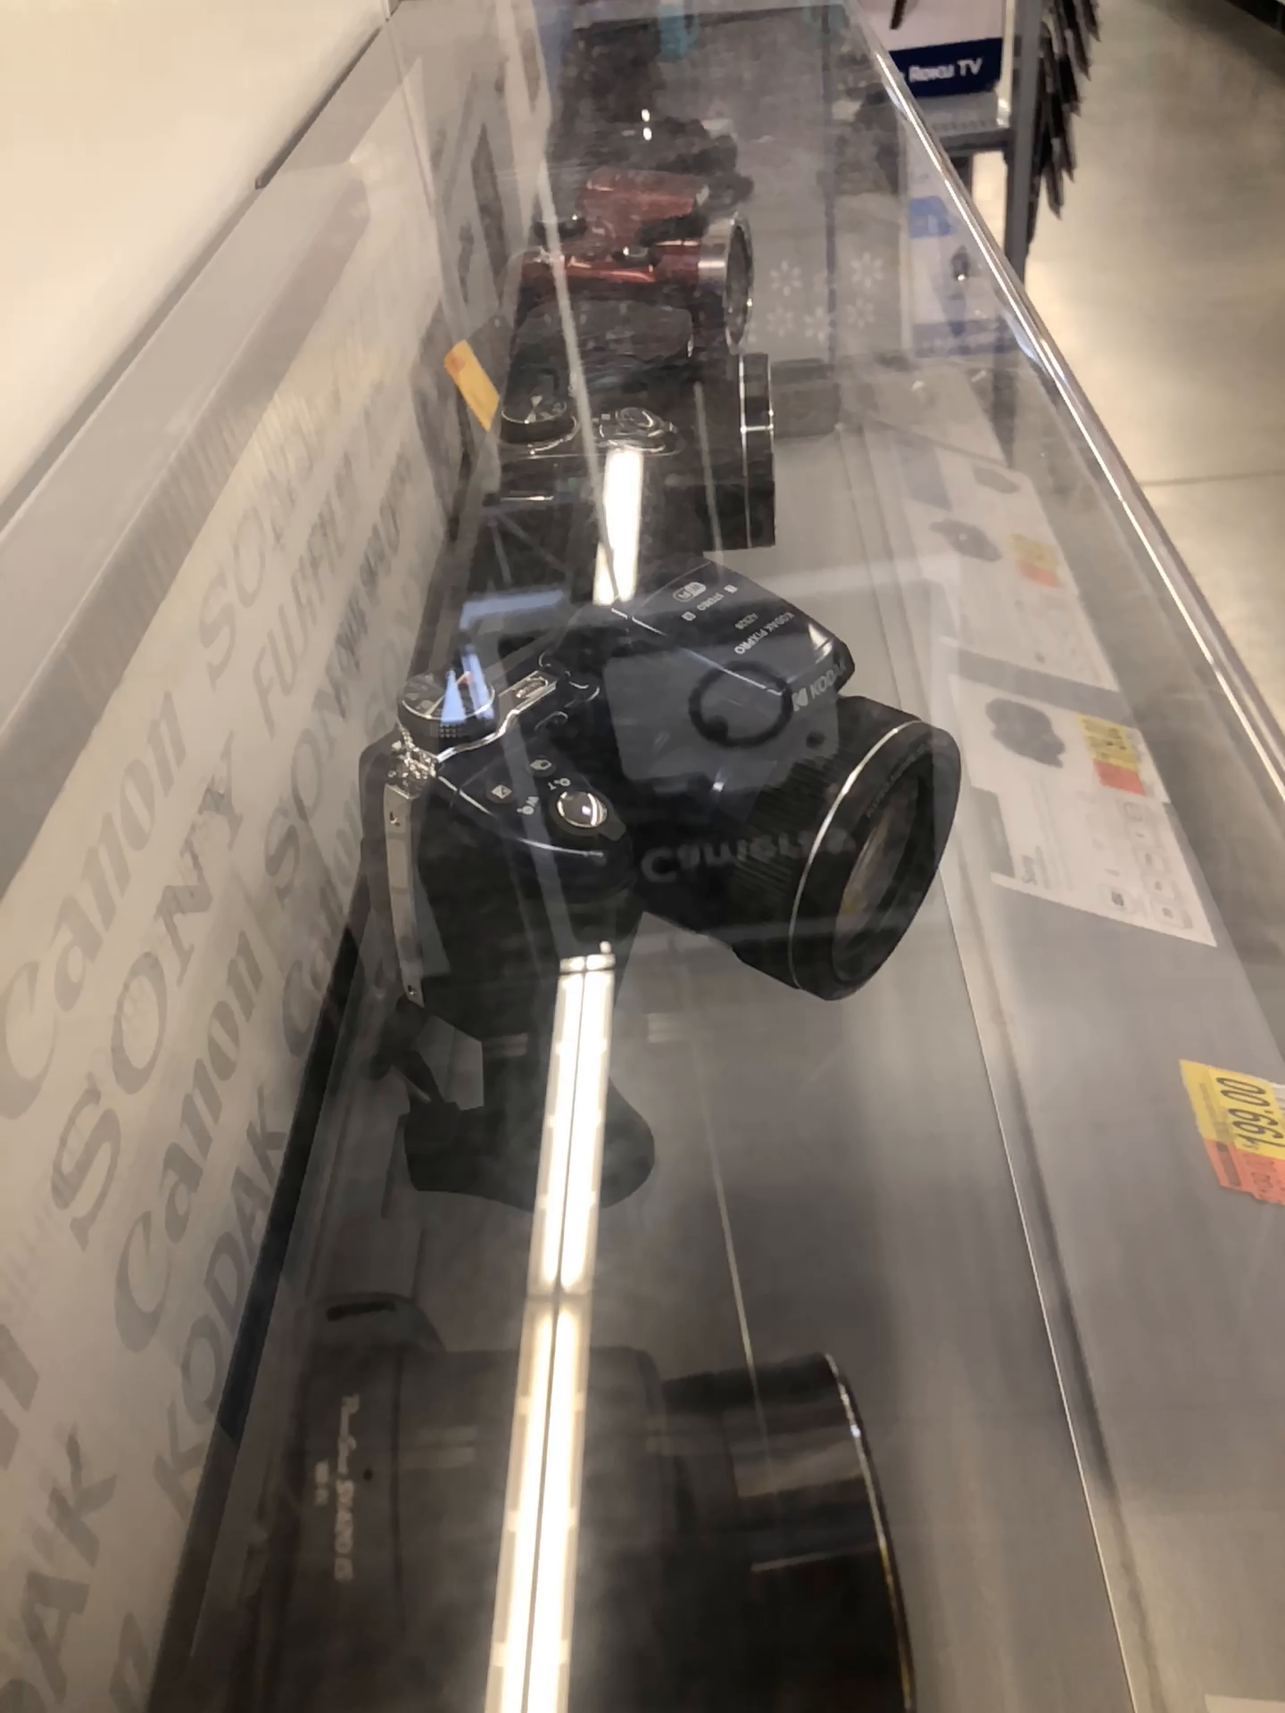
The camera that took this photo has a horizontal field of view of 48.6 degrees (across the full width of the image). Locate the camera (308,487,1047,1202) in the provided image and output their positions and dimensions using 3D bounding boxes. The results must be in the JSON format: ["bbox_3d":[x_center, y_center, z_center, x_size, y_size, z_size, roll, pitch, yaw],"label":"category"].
[{"bbox_3d":[0.013,-0.012,0.341,0.110,0.080,0.130,23,48,27],"label":"camera"}]
